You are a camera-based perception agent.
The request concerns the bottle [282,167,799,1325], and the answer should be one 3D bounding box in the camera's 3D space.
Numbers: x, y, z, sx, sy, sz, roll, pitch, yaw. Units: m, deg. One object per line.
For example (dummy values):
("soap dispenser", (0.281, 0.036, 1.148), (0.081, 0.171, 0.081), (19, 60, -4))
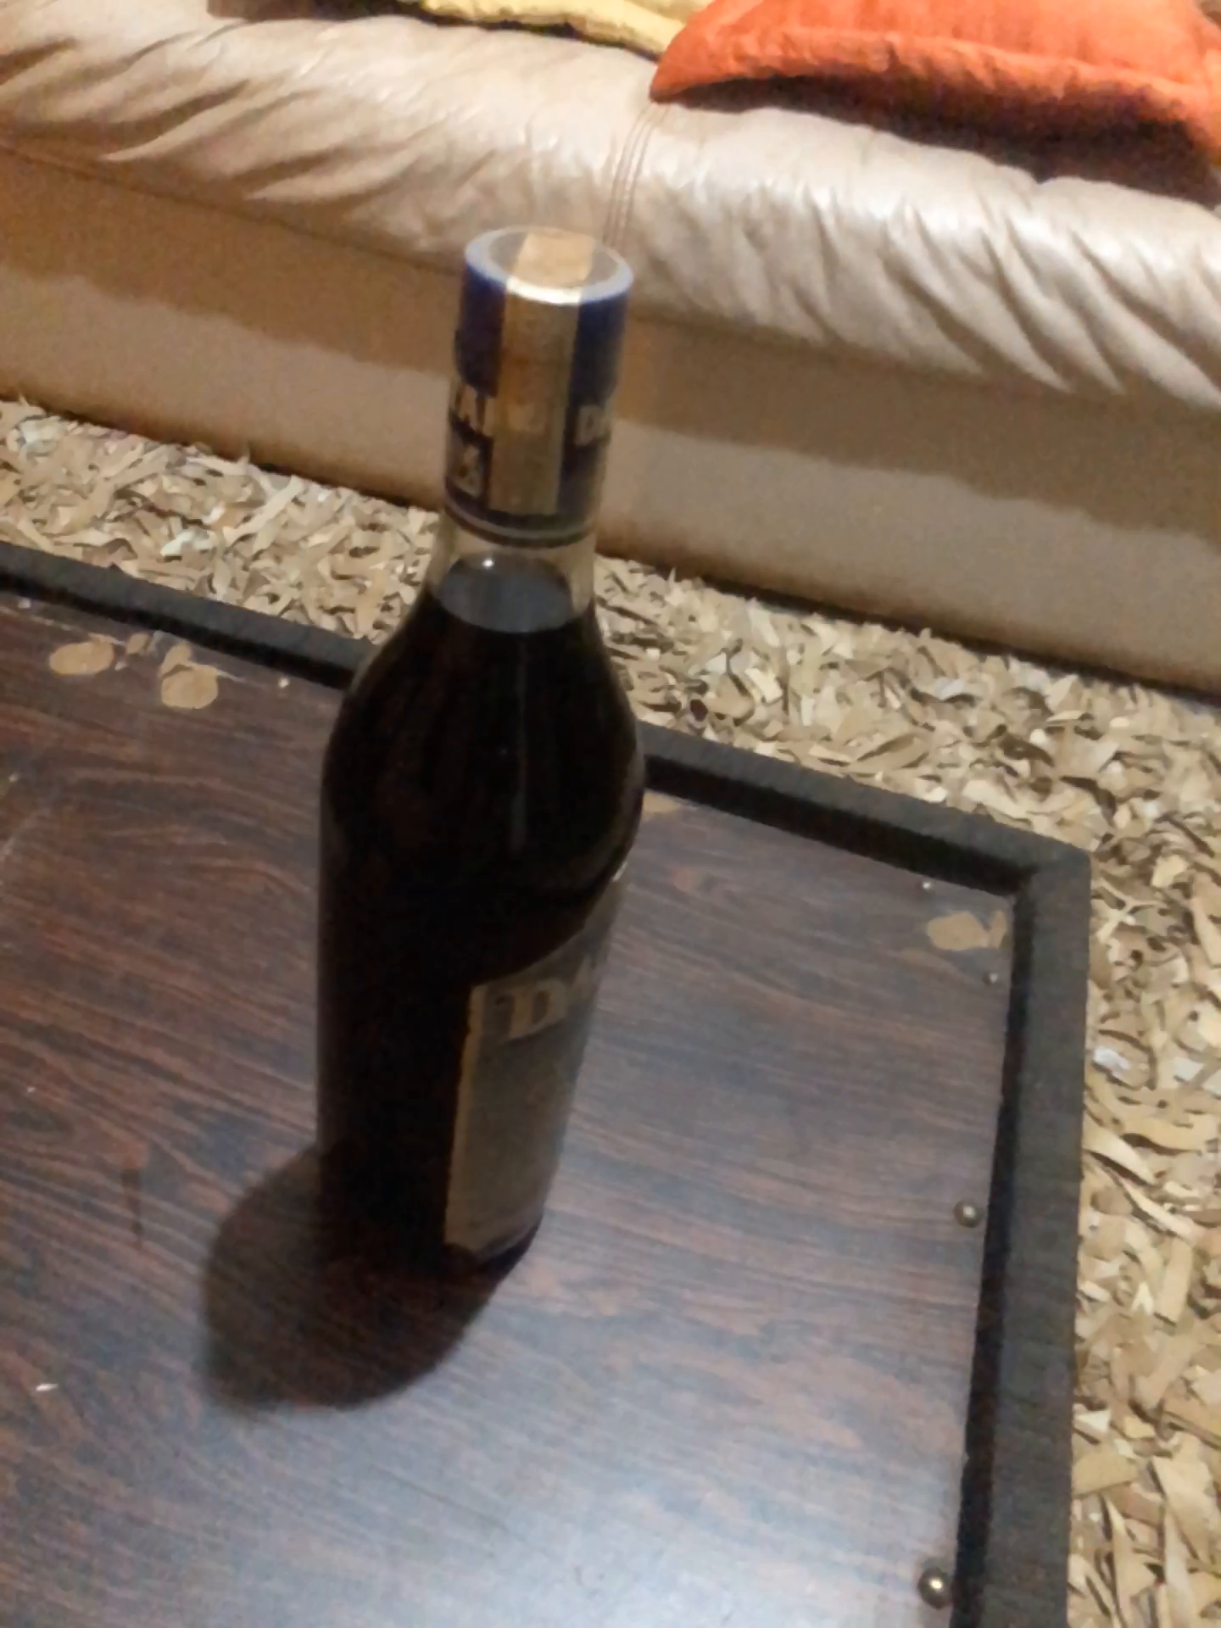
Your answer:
("bottle", (-0.025, 0.012, 0.354), (0.080, 0.308, 0.091), (11, 43, 2))
